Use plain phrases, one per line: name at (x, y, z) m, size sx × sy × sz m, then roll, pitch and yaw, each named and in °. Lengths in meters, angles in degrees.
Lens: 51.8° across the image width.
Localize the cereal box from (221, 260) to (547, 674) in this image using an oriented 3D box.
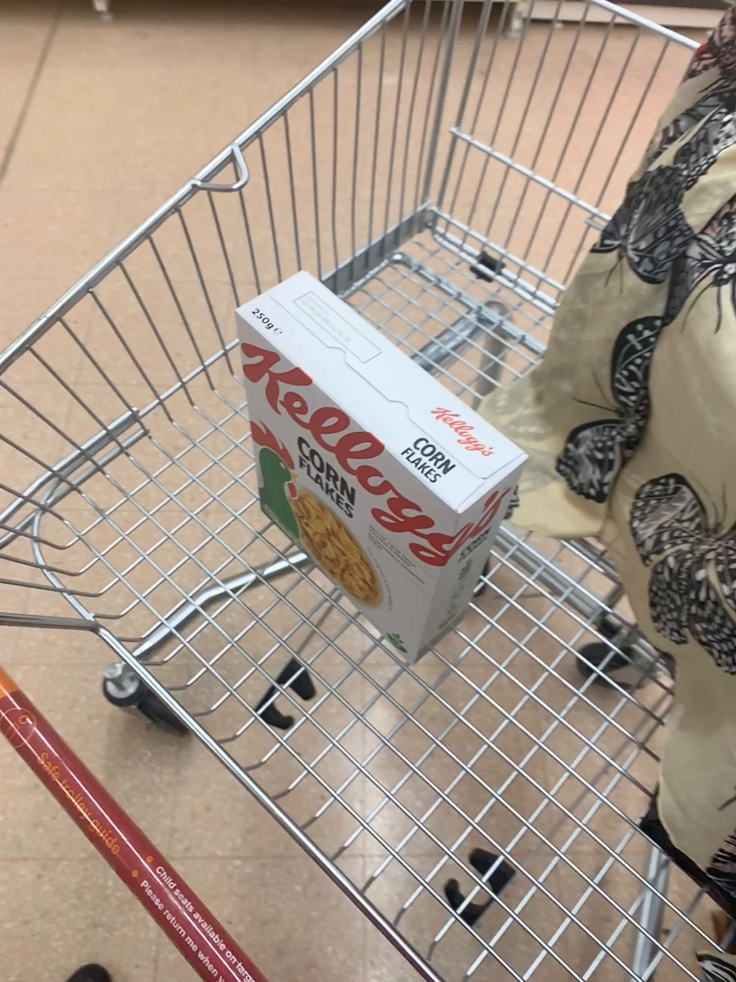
cereal box at (-0.002, -0.001, 0.526) m, size 0.060 × 0.239 × 0.201 m, roll -38°, pitch 69°, yaw -22°
